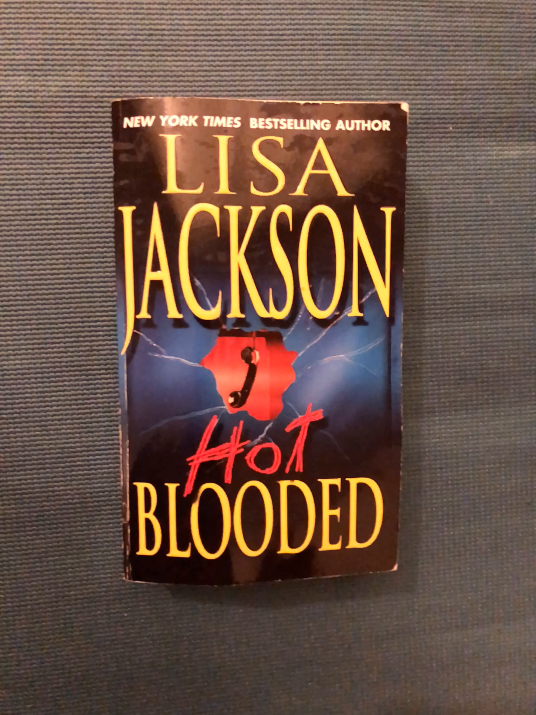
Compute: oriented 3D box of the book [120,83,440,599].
[{"bbox_3d":[0.004,-0.004,0.218,0.103,0.040,0.171,0,95,-2],"label":"book"}]
